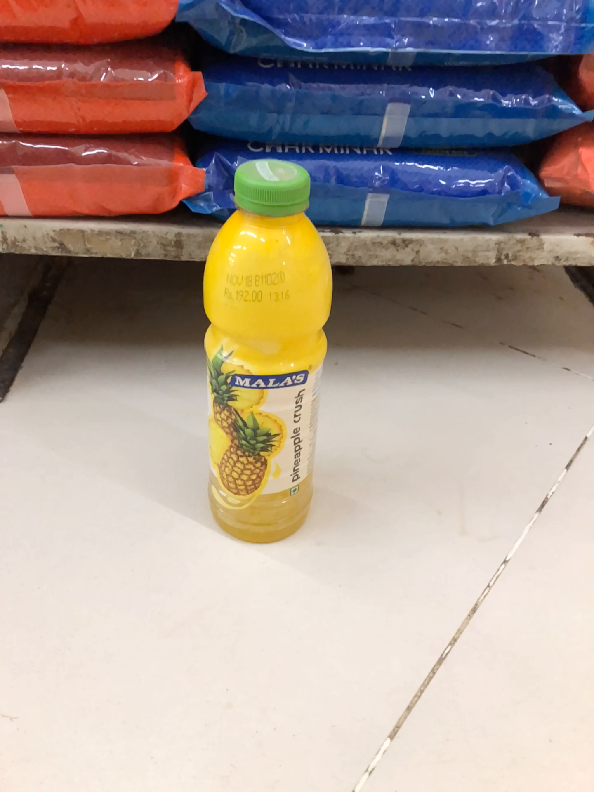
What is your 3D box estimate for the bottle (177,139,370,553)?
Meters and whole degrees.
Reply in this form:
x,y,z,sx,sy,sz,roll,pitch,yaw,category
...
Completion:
x,y,z,sx,sy,sz,roll,pitch,yaw,category
-0.022,-0.021,0.416,0.090,0.248,0.091,2,38,-2,bottle
